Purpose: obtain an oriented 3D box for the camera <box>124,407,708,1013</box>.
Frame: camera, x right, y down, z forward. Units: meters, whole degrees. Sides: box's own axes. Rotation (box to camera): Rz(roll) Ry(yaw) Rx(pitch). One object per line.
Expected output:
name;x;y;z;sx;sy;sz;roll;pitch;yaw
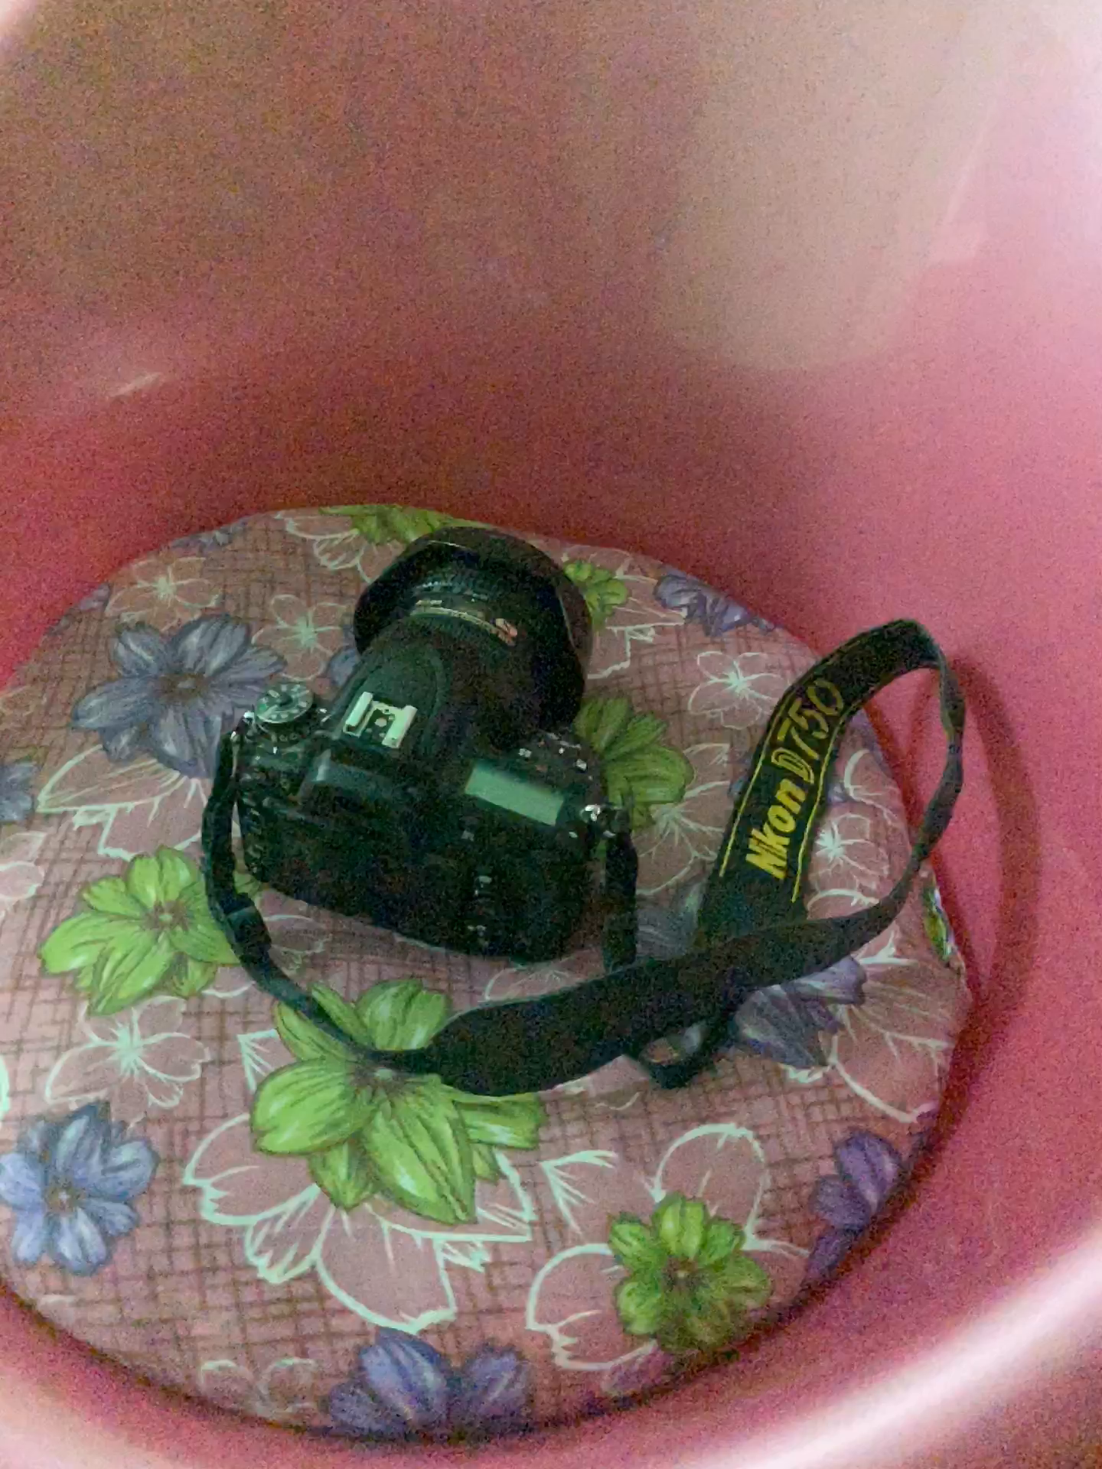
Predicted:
camera;-0.042;-0.017;0.487;0.166;0.130;0.192;14;51;11
